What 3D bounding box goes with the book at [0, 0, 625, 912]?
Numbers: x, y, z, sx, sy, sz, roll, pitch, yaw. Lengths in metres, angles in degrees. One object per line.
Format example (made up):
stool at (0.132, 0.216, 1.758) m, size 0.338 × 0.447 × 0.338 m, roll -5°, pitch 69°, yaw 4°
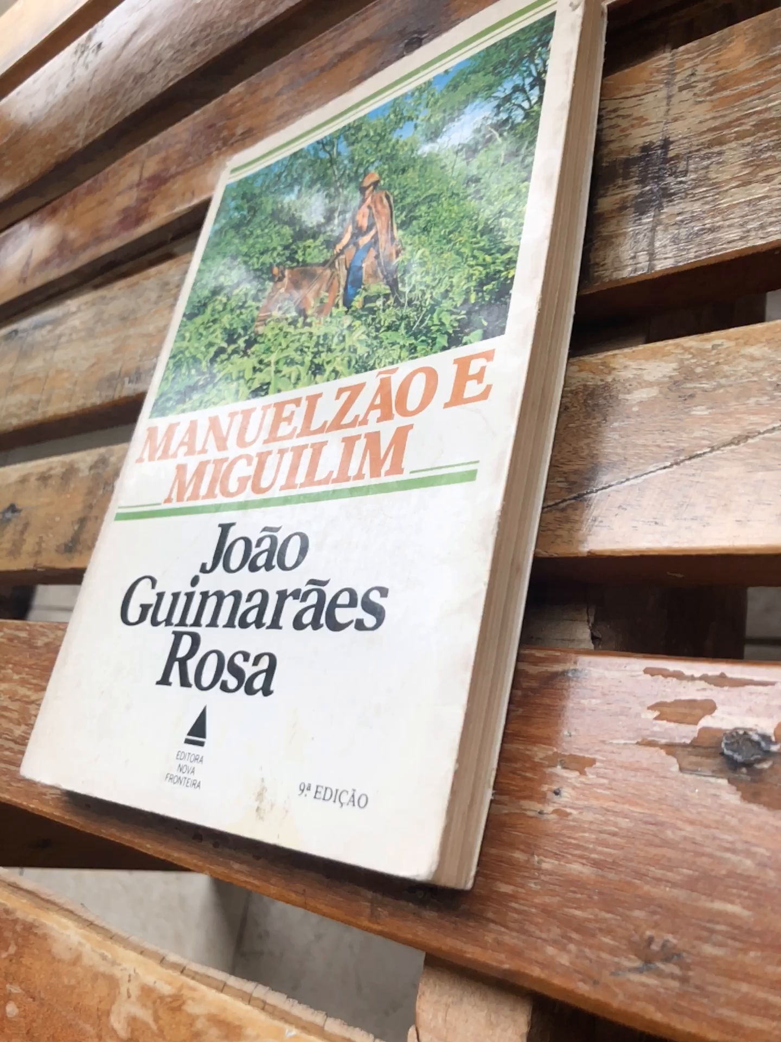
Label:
book at (-0.024, -0.029, 0.211) m, size 0.142 × 0.020 × 0.200 m, roll -6°, pitch 64°, yaw 41°
